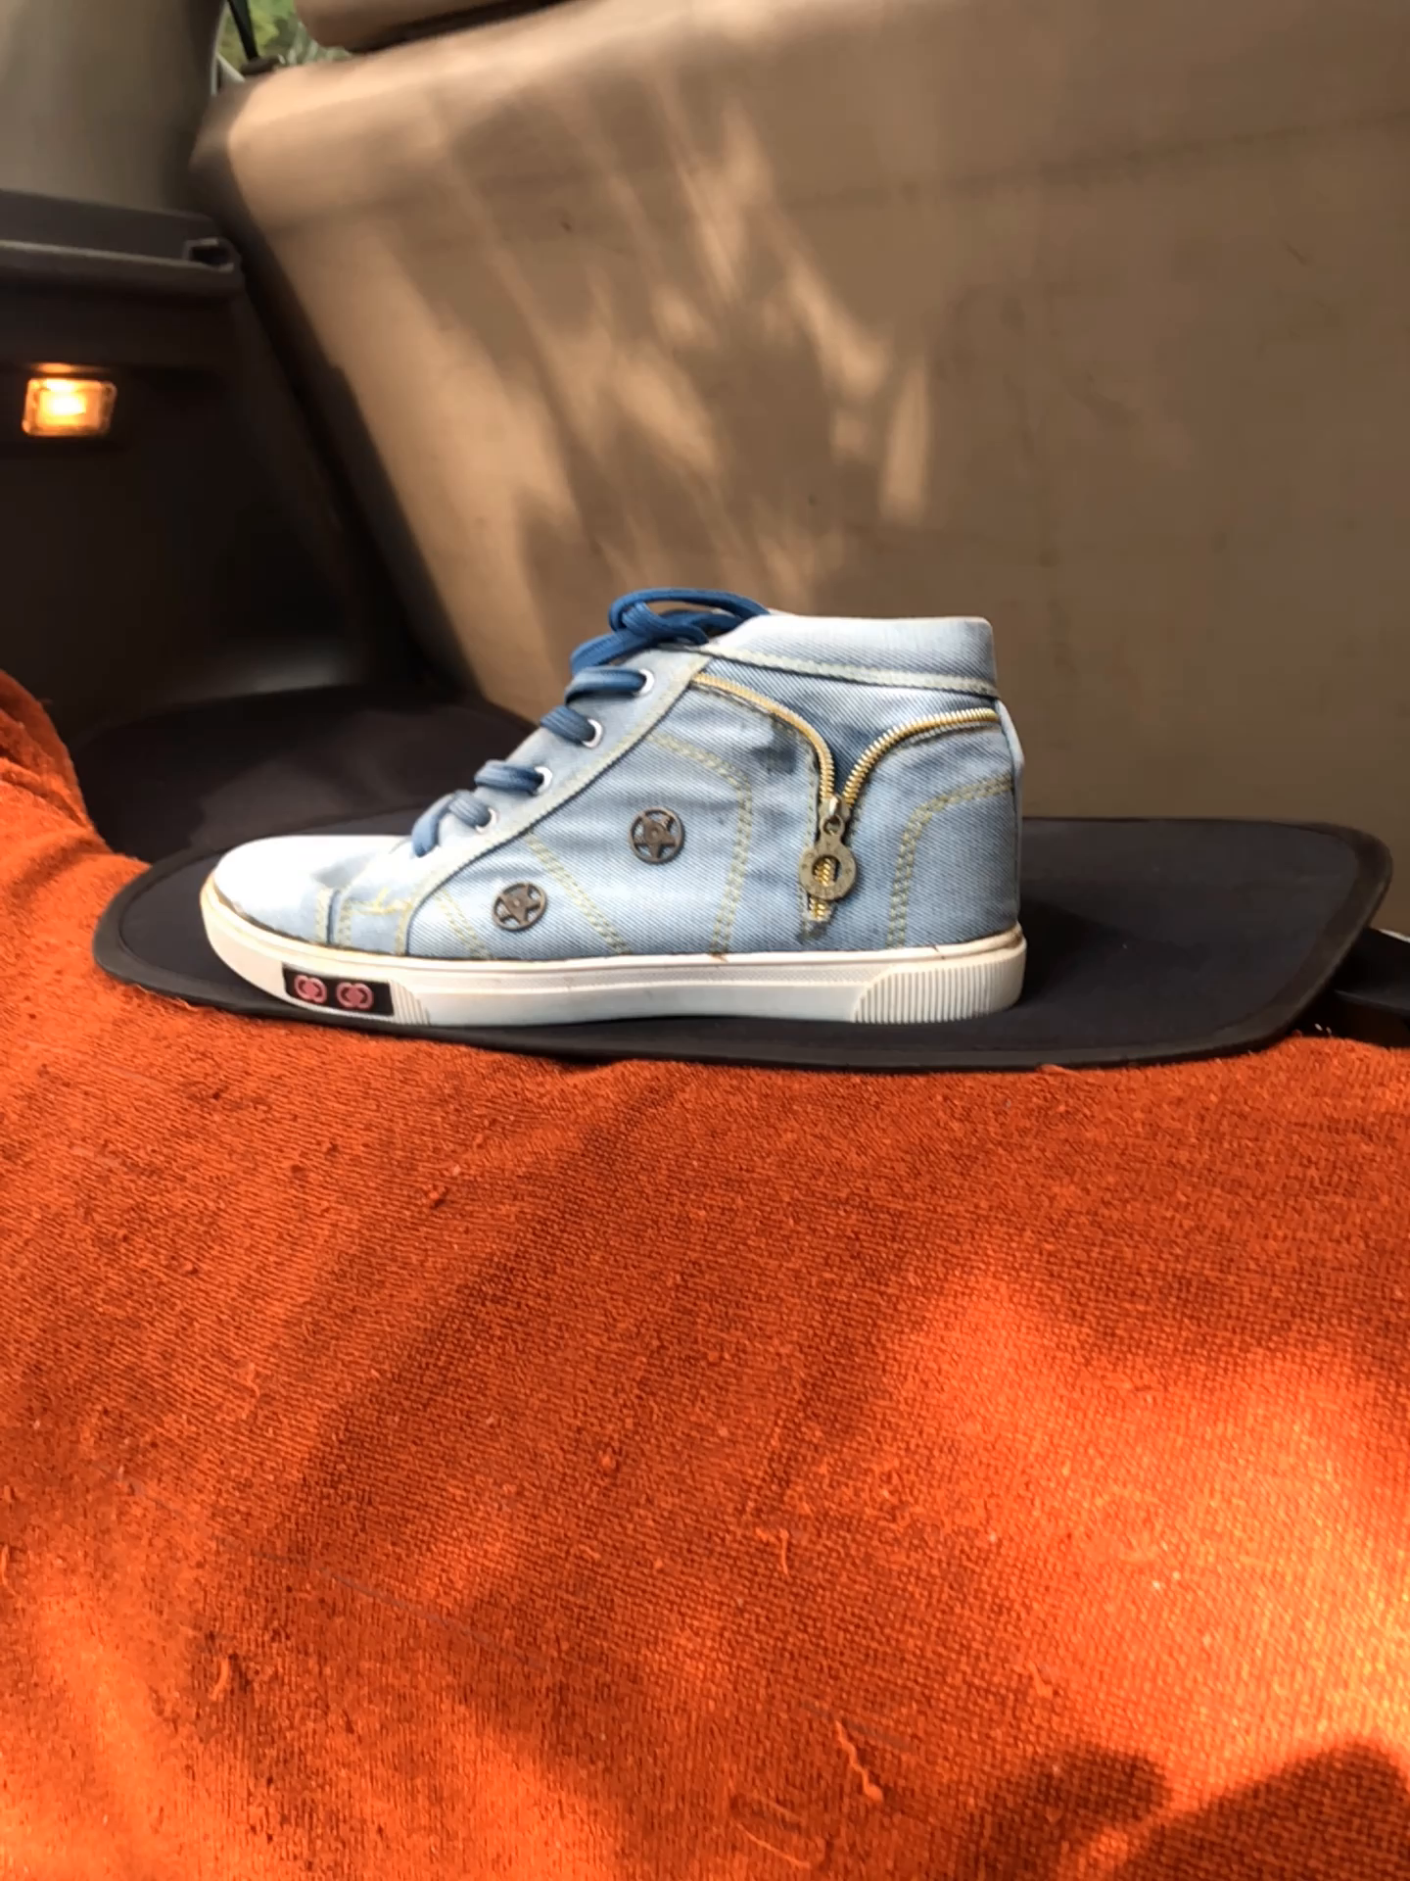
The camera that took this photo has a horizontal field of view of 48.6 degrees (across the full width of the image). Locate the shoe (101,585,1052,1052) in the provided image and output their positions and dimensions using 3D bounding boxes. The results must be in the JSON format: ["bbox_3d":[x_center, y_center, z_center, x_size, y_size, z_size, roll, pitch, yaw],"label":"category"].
[{"bbox_3d":[-0.030,-0.045,0.479,0.260,0.110,0.111,2,18,15],"label":"shoe"}]
